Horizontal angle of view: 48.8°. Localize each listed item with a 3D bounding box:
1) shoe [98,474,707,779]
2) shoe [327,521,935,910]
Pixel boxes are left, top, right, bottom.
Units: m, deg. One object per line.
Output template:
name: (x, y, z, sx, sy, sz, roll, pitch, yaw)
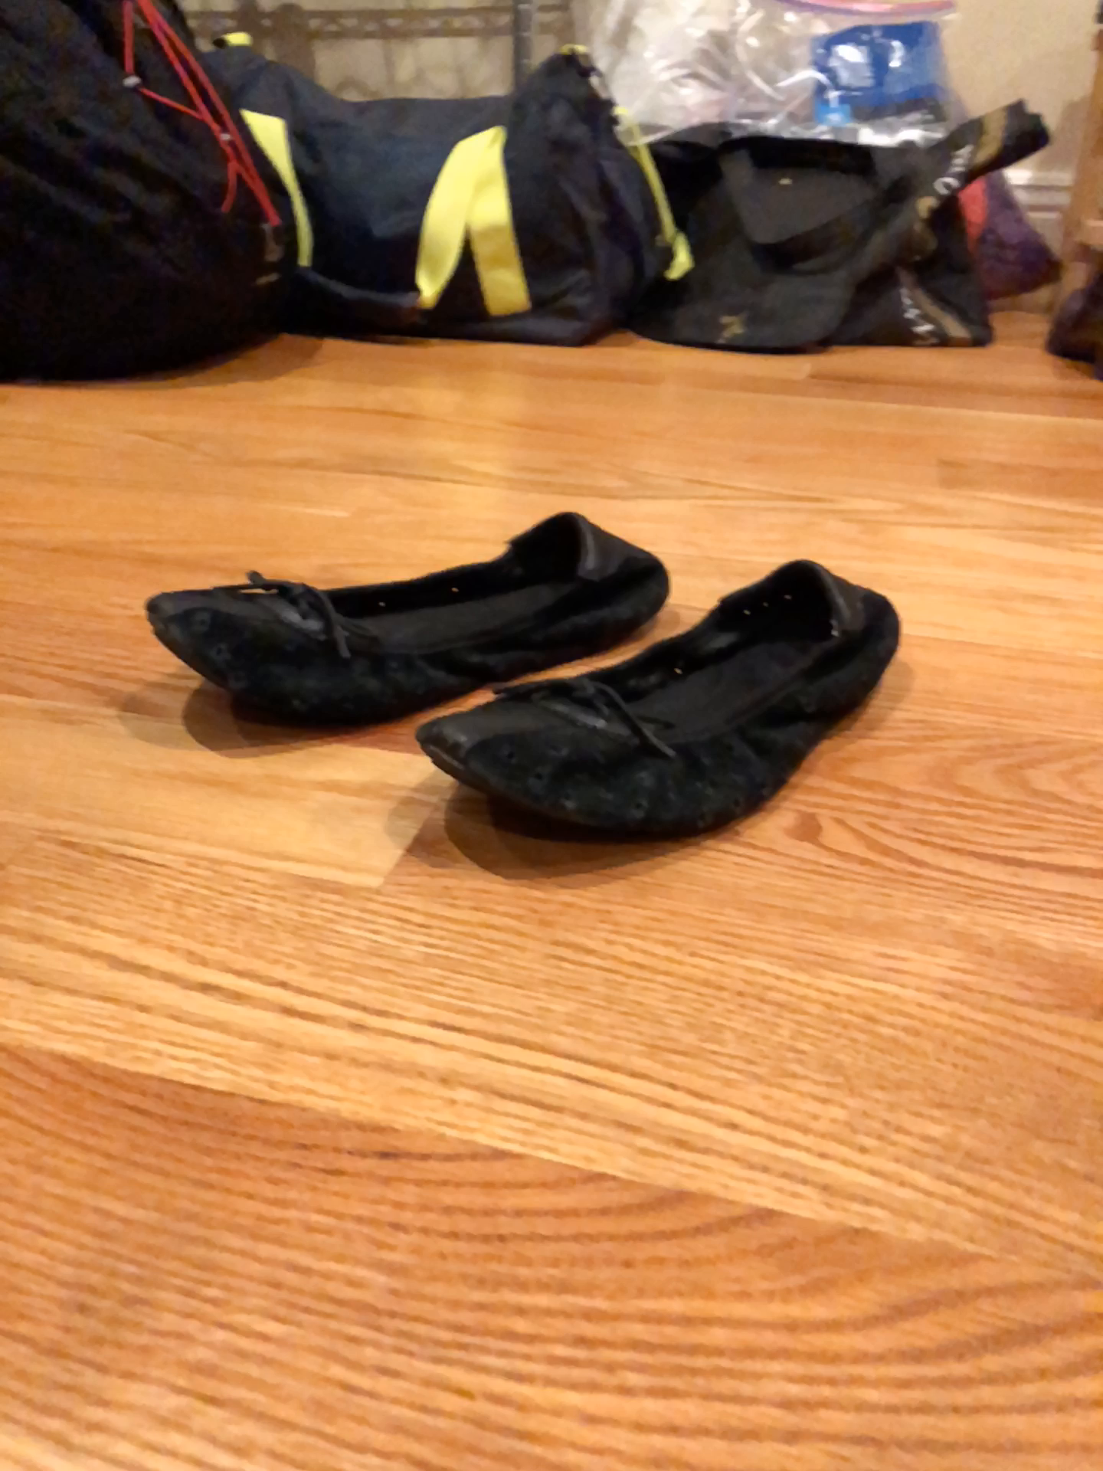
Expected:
shoe: (-0.053, -0.055, 0.492, 0.221, 0.050, 0.100, -19, 33, -35)
shoe: (0.039, -0.022, 0.430, 0.093, 0.046, 0.221, 23, 33, 36)
